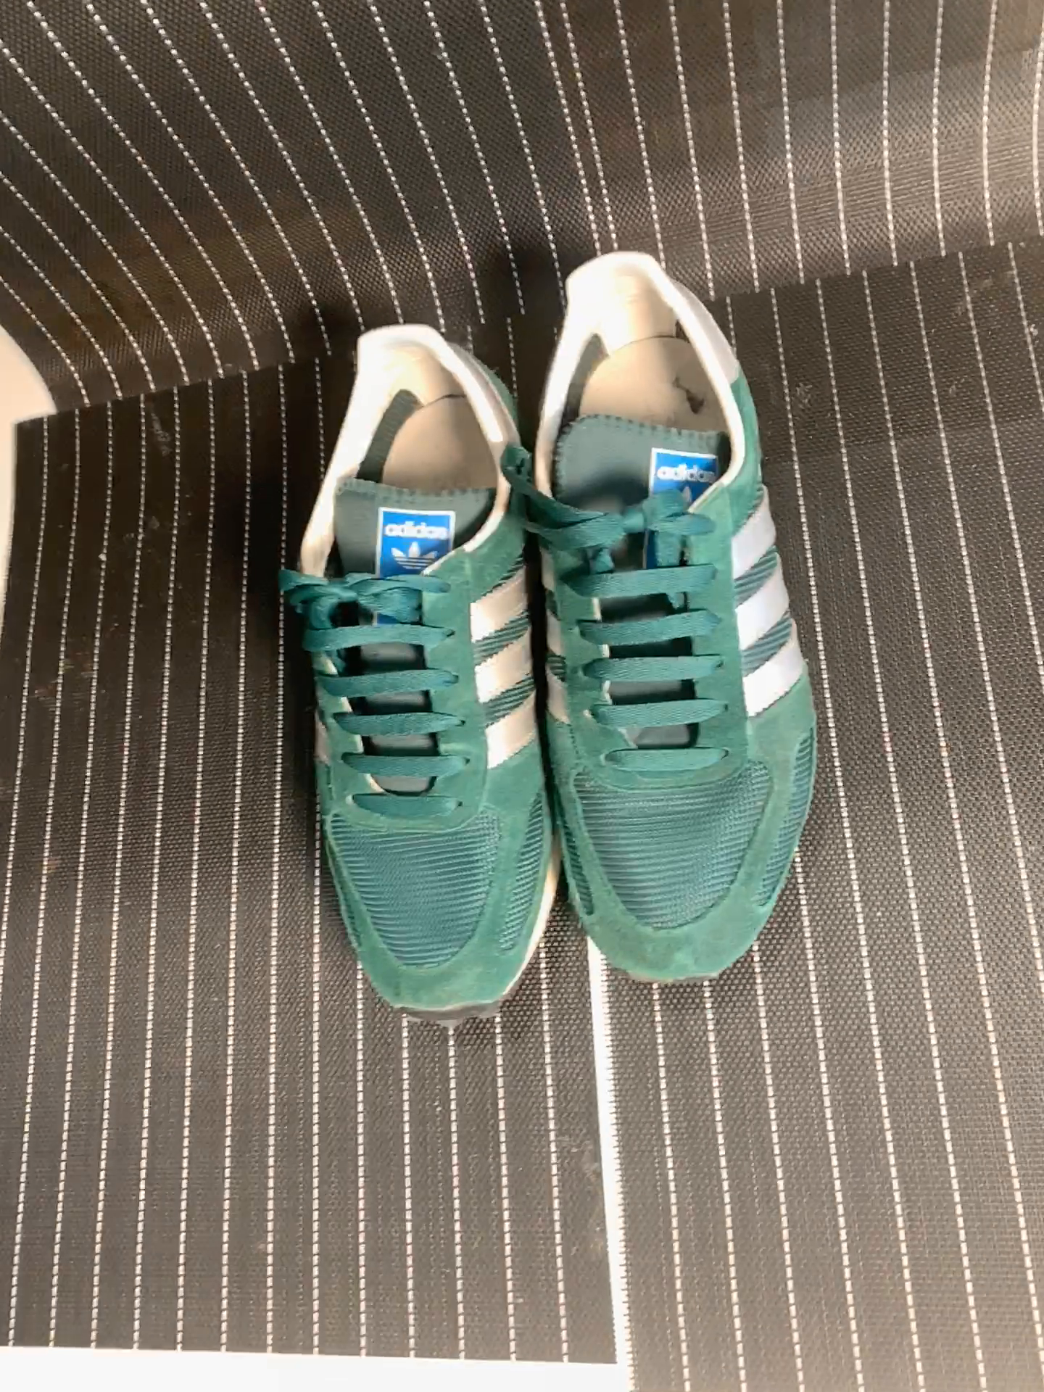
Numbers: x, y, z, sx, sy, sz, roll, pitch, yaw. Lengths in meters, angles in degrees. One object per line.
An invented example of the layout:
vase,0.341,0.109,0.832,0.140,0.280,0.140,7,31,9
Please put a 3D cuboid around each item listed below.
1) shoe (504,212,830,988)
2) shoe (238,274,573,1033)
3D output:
shoe,0.059,-0.028,0.434,0.100,0.120,0.280,-5,73,14
shoe,-0.042,-0.014,0.444,0.100,0.090,0.290,-5,73,14
